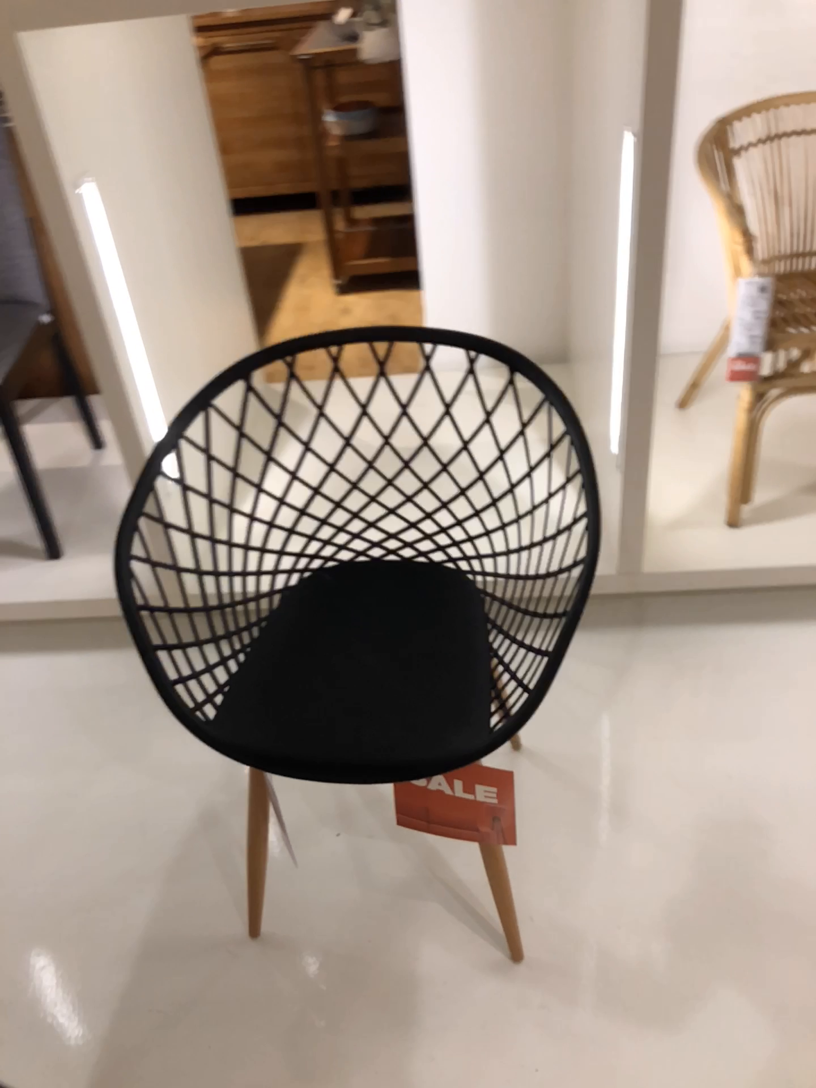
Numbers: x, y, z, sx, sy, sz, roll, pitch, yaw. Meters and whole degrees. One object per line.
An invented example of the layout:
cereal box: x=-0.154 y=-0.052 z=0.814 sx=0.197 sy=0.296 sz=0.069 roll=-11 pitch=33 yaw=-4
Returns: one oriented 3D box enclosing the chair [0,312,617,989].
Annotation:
chair: x=-0.040 y=0.132 z=1.303 sx=0.620 sy=0.705 sz=0.604 roll=0 pitch=36 yaw=10
